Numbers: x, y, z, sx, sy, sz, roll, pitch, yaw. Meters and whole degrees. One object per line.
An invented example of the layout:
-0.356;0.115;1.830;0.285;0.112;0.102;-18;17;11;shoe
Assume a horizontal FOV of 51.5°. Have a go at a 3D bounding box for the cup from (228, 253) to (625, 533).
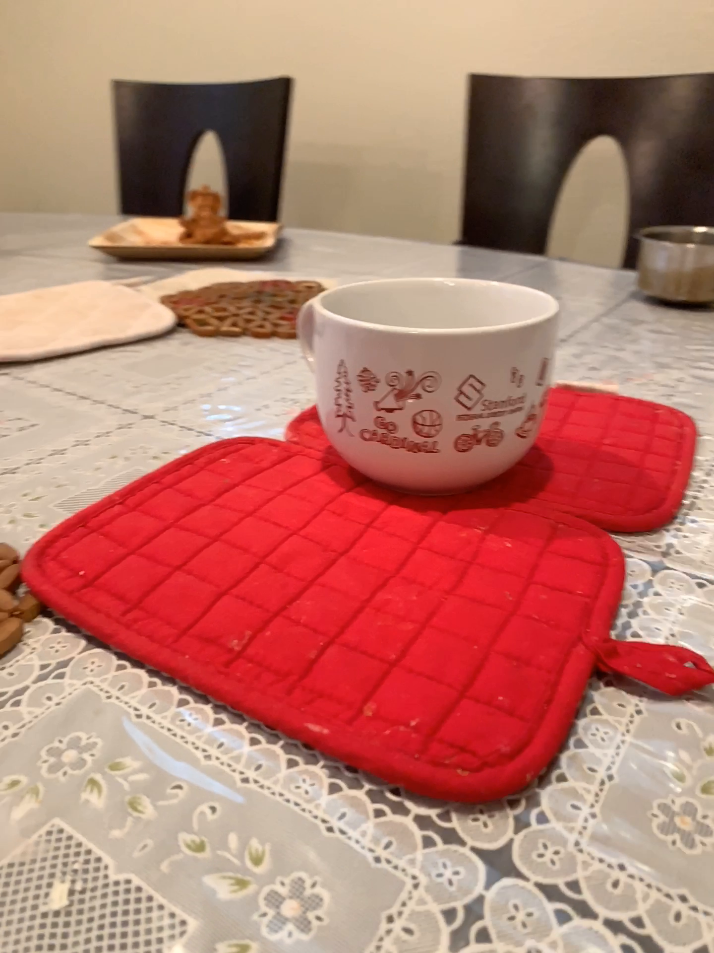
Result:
0.031;-0.054;0.361;0.141;0.079;0.120;22;33;38;cup
